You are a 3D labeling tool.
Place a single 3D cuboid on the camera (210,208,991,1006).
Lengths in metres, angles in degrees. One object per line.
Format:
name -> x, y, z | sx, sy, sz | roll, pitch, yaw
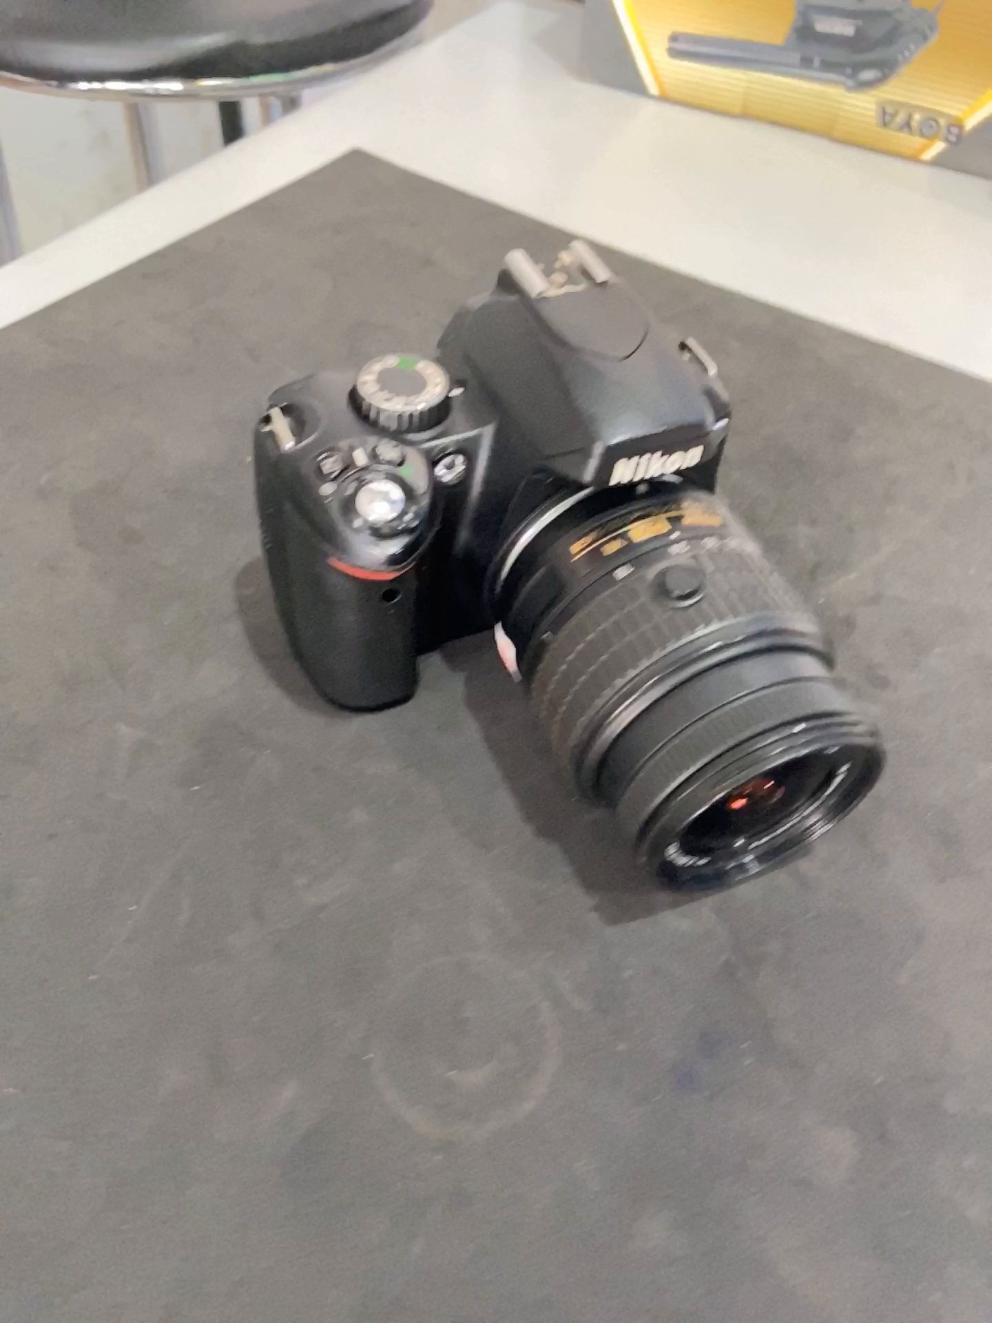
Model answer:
camera -> 0.020, -0.023, 0.247 | 0.129, 0.088, 0.141 | -17, 55, -18
